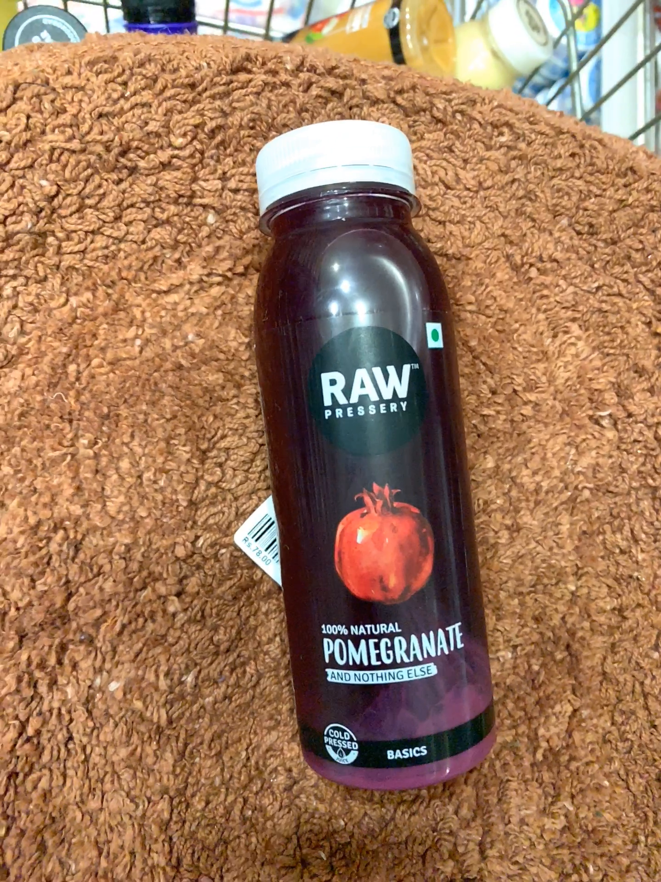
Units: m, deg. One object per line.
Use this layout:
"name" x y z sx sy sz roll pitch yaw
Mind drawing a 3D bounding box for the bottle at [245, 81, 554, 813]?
"bottle" 0.014 0.001 0.155 0.050 0.040 0.140 -6 98 -12
